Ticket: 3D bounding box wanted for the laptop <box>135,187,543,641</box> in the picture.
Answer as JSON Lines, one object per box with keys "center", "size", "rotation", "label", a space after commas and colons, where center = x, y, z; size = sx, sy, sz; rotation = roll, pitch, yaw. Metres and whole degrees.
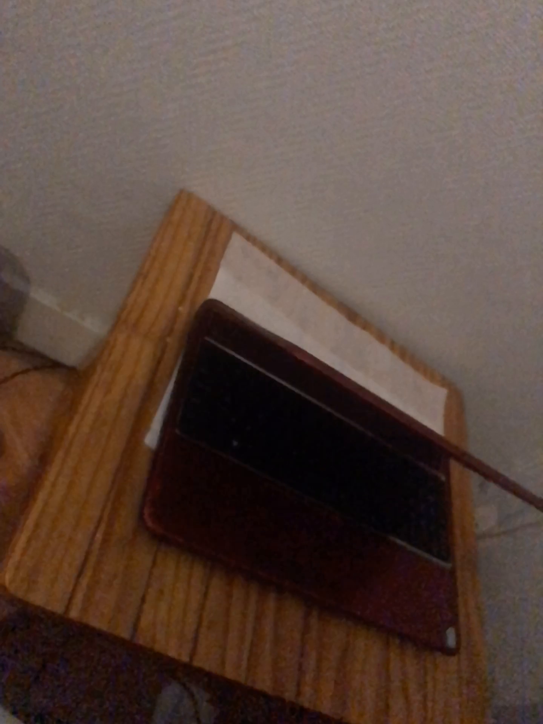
{"center": [0.102, 0.072, 0.576], "size": [0.373, 0.168, 0.254], "rotation": [32, 44, -28], "label": "laptop"}
